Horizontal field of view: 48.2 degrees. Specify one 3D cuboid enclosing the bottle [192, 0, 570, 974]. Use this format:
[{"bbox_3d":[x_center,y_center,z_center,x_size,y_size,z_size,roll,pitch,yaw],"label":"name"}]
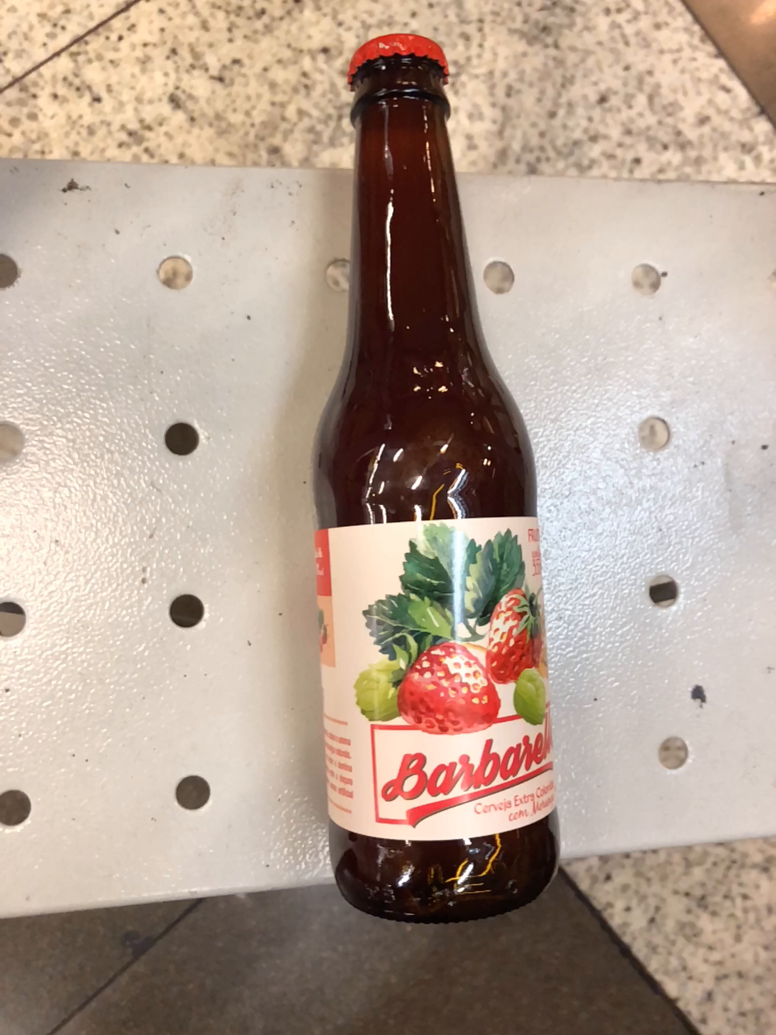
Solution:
[{"bbox_3d":[-0.007,-0.021,0.230,0.070,0.060,0.240,-4,87,-10],"label":"bottle"}]
